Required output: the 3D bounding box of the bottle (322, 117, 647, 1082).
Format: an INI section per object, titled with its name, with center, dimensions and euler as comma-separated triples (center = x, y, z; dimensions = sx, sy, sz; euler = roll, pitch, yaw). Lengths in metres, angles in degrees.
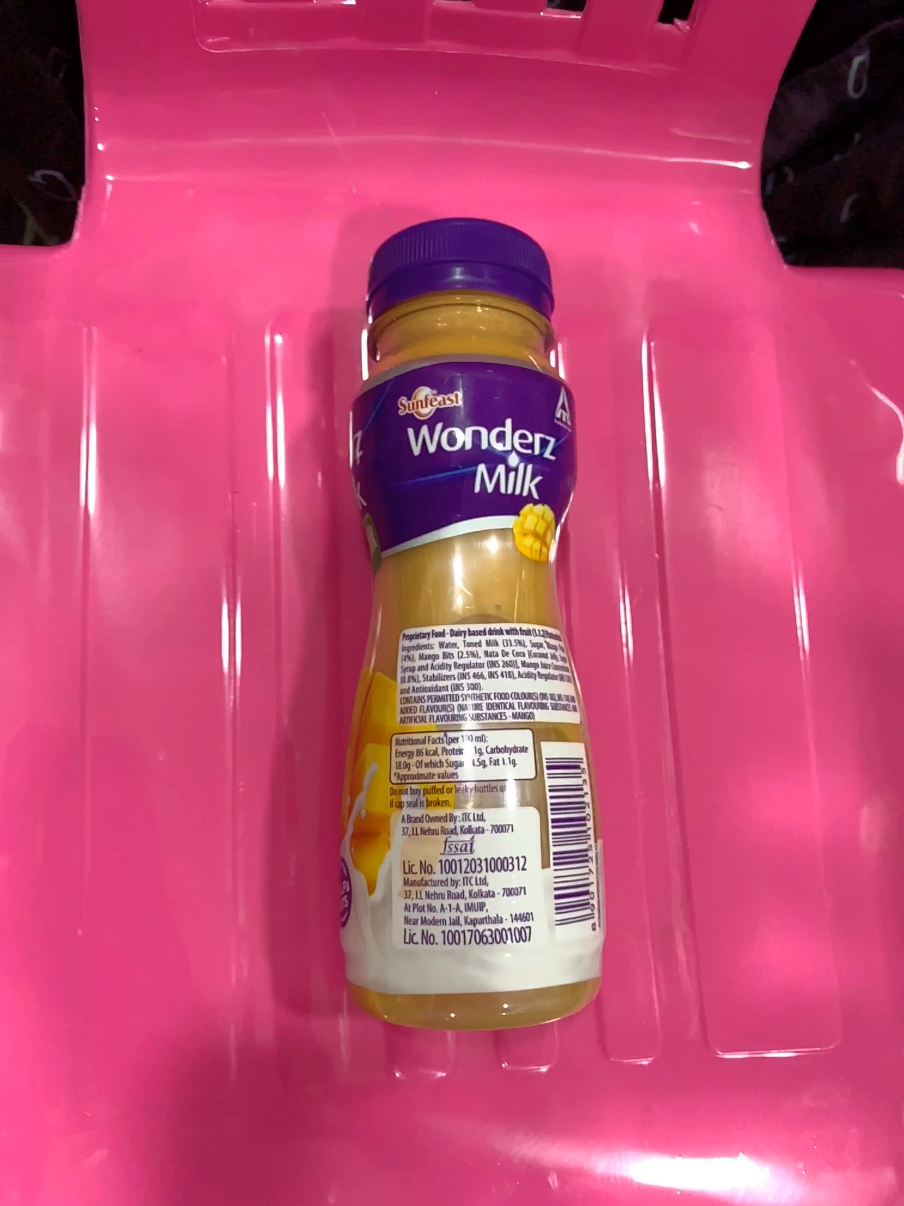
[bottle]
center = 0.002, -0.002, 0.184
dimensions = 0.050, 0.050, 0.160
euler = -1, 84, -7
